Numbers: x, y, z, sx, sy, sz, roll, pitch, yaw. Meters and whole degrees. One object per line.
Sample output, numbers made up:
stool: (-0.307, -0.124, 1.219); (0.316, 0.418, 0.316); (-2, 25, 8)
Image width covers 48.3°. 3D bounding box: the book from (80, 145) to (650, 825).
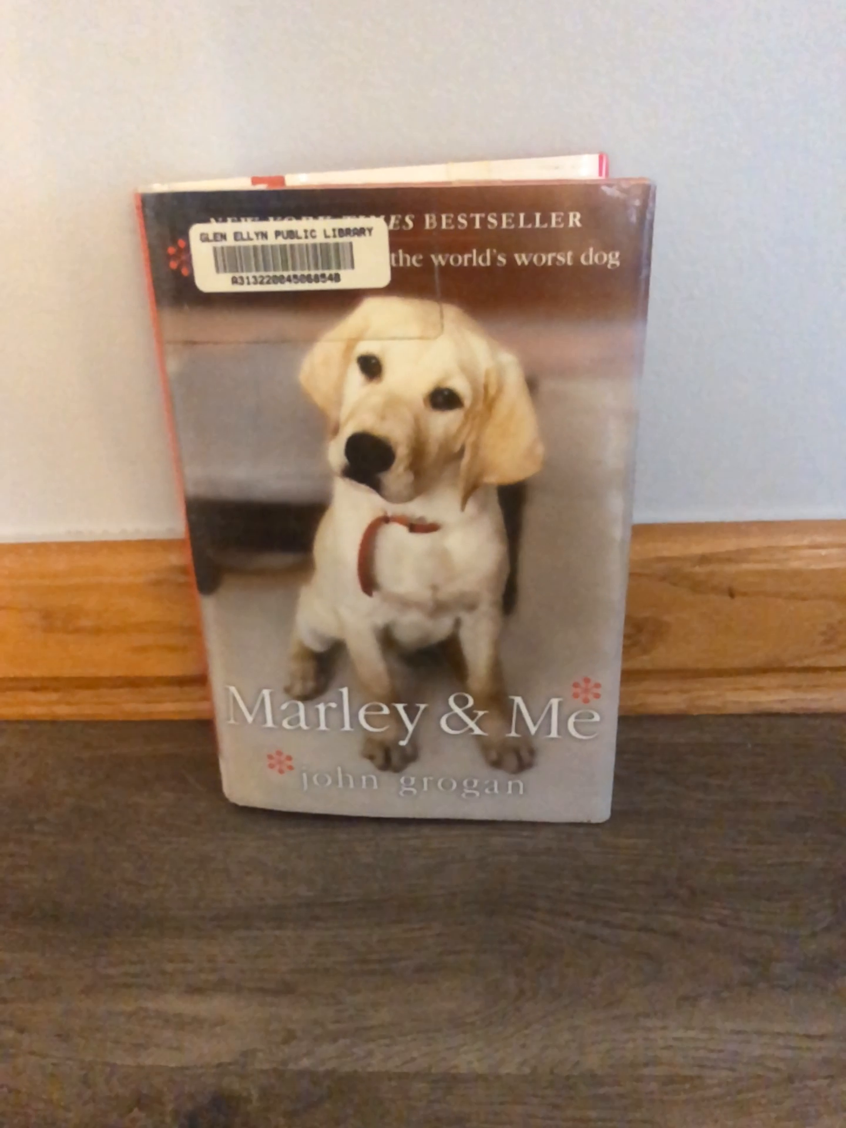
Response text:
book: (-0.010, -0.014, 0.312); (0.151, 0.219, 0.040); (-1, 25, 5)
